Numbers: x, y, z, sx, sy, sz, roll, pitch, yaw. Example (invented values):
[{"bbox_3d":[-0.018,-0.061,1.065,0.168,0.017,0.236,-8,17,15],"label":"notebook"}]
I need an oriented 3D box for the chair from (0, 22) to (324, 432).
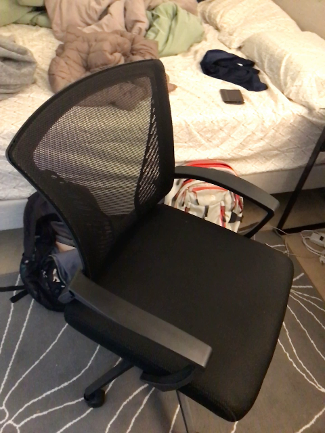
[{"bbox_3d":[0.022,0.097,0.894,0.580,0.834,0.624,23,49,20],"label":"chair"}]
